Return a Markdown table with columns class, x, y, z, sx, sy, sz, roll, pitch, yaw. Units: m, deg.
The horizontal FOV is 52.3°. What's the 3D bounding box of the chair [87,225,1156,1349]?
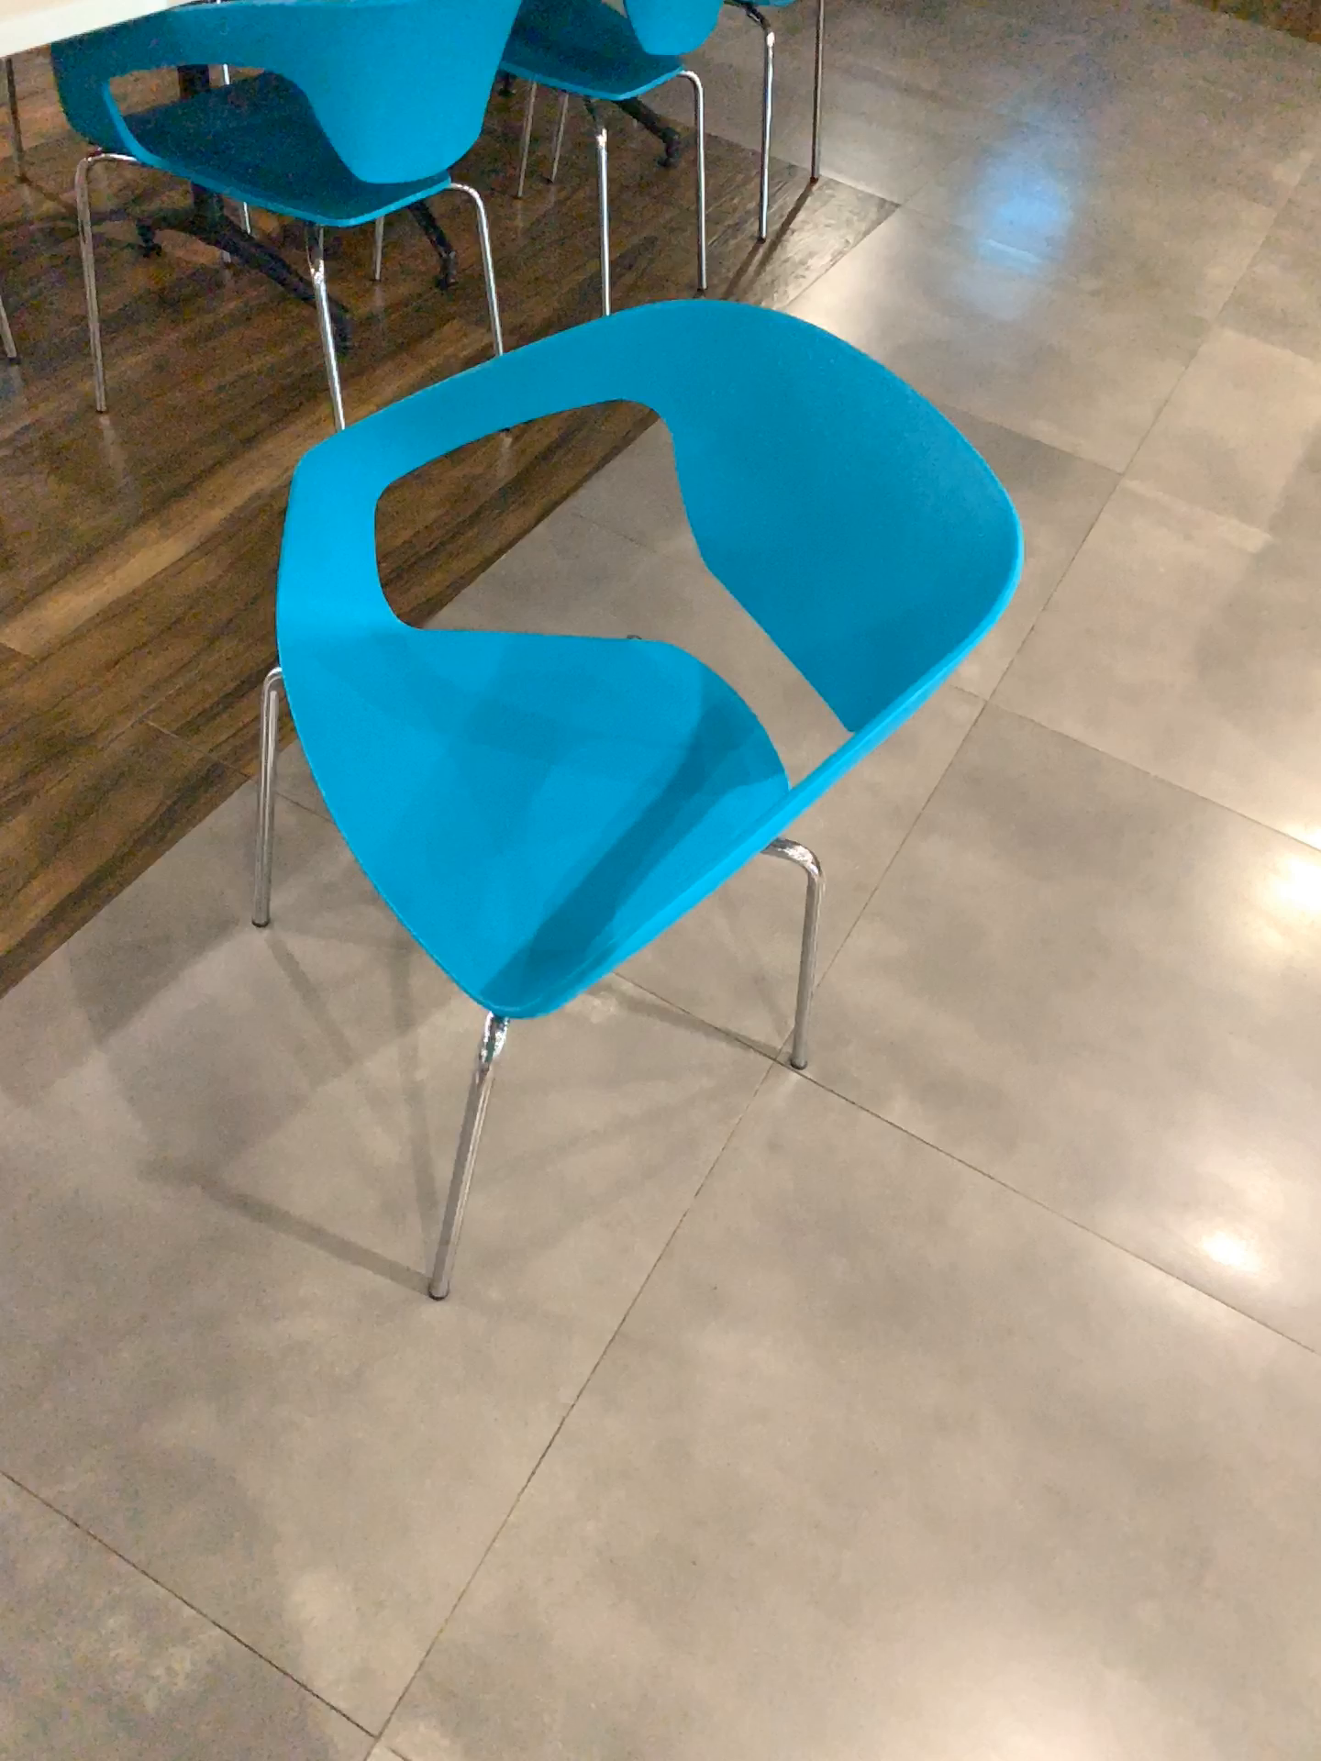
| class | x | y | z | sx | sy | sz | roll | pitch | yaw |
| --- | --- | --- | --- | --- | --- | --- | --- | --- | --- |
| chair | -0.094 | -0.092 | 1.283 | 0.591 | 0.724 | 0.613 | -19 | 56 | -24 |
